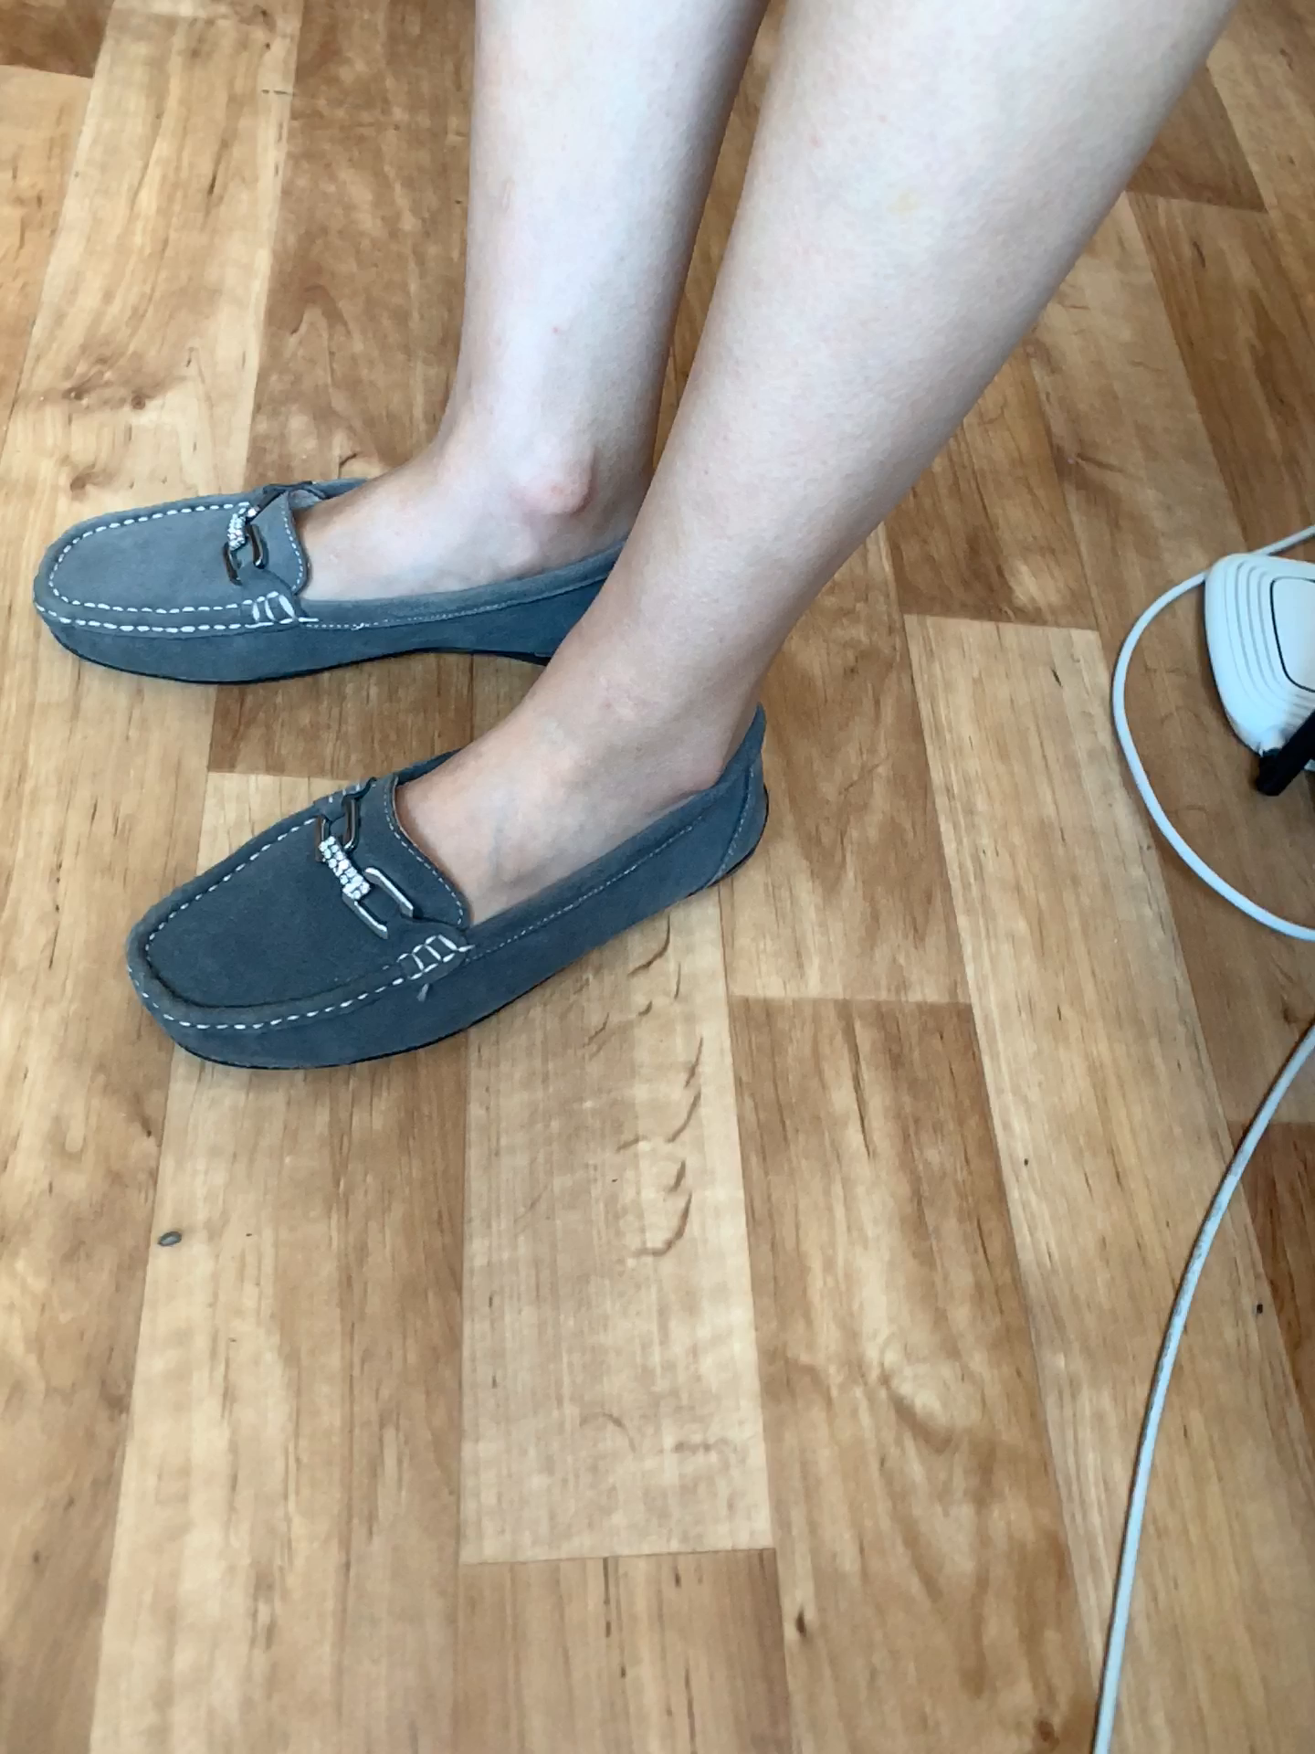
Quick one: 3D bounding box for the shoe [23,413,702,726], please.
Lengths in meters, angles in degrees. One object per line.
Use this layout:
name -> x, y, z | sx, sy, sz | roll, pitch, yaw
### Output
shoe -> -0.110, -0.119, 0.537 | 0.240, 0.060, 0.090 | 1, 57, -13

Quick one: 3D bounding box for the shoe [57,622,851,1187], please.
shoe -> -0.064, 0.002, 0.471 | 0.240, 0.060, 0.100 | -23, 69, -23
